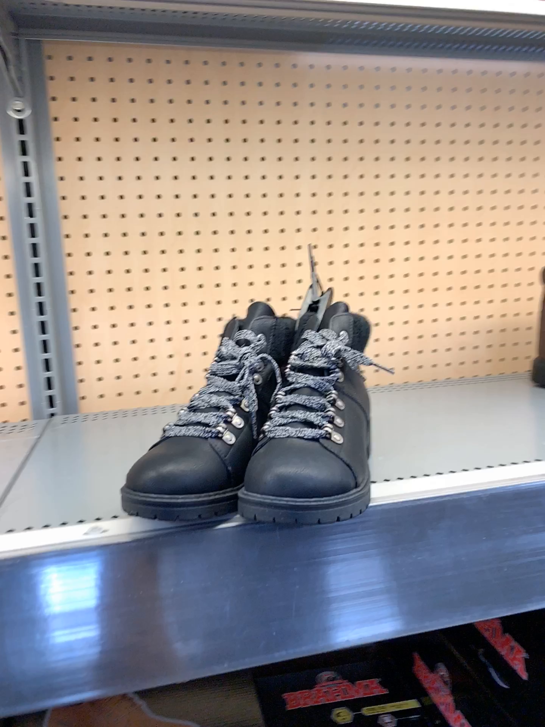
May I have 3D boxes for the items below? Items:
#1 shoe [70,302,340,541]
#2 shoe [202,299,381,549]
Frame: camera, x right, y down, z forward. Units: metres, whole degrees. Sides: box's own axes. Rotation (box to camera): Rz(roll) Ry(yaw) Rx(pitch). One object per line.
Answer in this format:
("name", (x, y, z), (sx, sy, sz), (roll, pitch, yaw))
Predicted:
("shoe", (-0.038, 0.026, 0.484), (0.104, 0.137, 0.236), (4, 12, 30))
("shoe", (0.033, 0.026, 0.457), (0.105, 0.137, 0.231), (0, 11, 12))
